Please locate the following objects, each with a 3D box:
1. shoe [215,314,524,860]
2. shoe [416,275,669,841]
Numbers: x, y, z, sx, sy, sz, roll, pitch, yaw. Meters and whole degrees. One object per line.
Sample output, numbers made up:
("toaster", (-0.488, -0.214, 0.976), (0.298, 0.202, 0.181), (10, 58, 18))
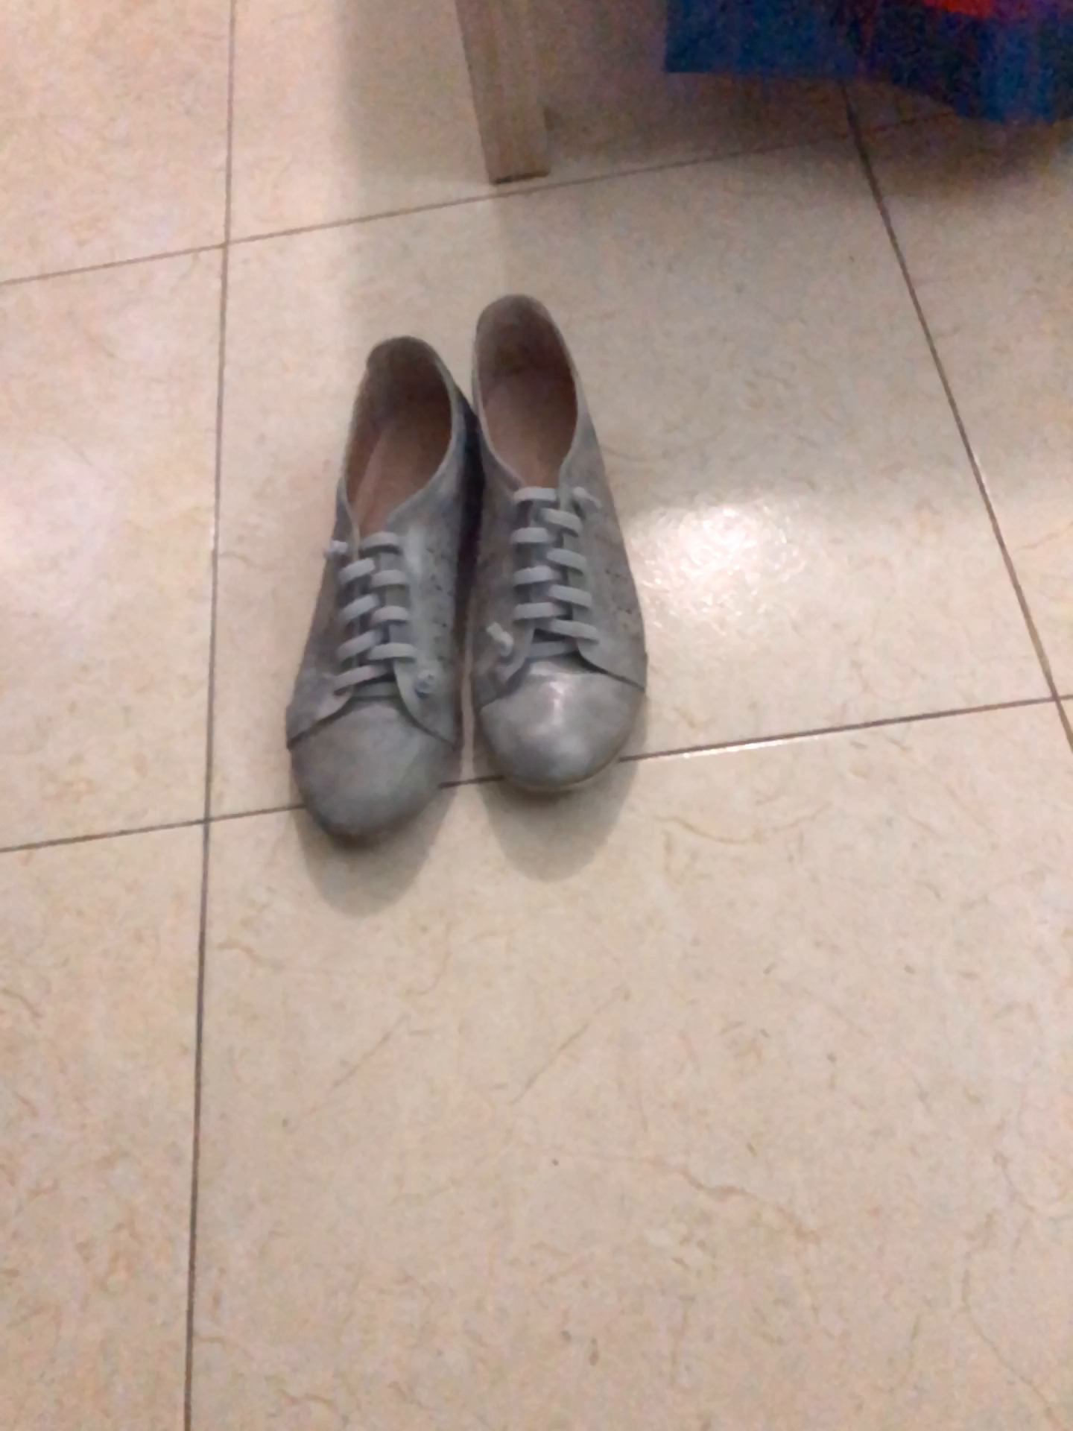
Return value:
("shoe", (-0.079, -0.077, 0.662), (0.100, 0.100, 0.291), (2, 63, 9))
("shoe", (0.000, -0.091, 0.651), (0.100, 0.100, 0.291), (-8, 61, 4))
